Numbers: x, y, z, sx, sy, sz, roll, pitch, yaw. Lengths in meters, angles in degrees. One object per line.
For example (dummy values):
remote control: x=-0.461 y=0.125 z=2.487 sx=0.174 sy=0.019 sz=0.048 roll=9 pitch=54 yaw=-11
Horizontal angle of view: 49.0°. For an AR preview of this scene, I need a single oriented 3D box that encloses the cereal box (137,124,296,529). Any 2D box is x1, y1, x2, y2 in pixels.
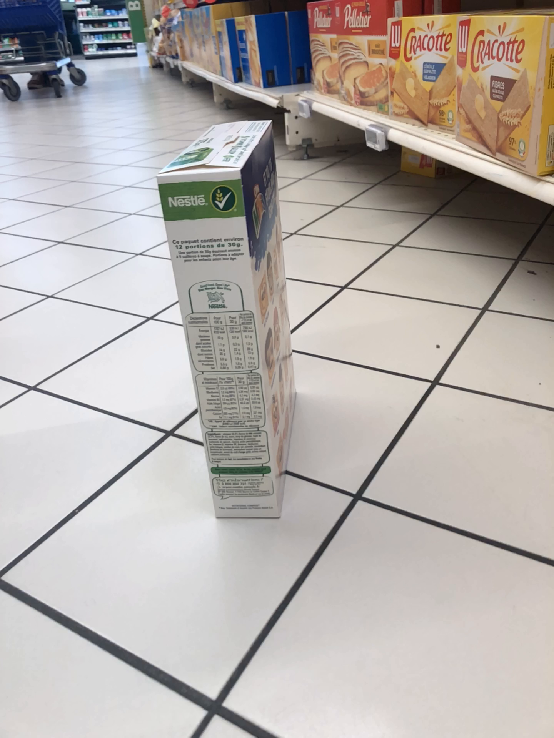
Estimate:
cereal box: x=-0.030 y=-0.042 z=0.498 sx=0.070 sy=0.268 sz=0.201 roll=-1 pitch=29 yaw=5
